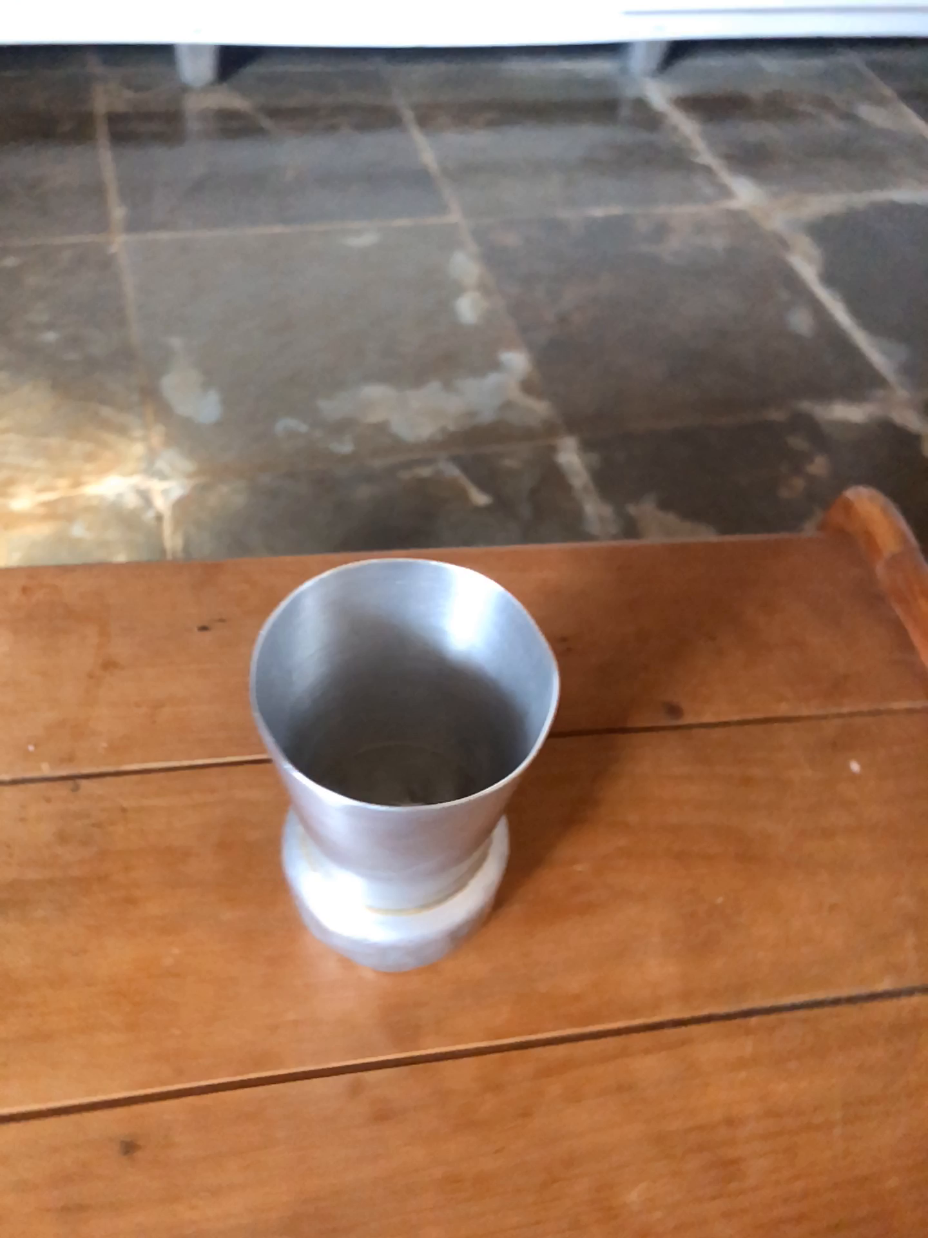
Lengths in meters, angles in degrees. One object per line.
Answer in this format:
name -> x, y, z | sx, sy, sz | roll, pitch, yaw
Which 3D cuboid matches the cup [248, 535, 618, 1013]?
cup -> -0.015, 0.044, 0.272 | 0.070, 0.109, 0.070 | 4, 51, -5
